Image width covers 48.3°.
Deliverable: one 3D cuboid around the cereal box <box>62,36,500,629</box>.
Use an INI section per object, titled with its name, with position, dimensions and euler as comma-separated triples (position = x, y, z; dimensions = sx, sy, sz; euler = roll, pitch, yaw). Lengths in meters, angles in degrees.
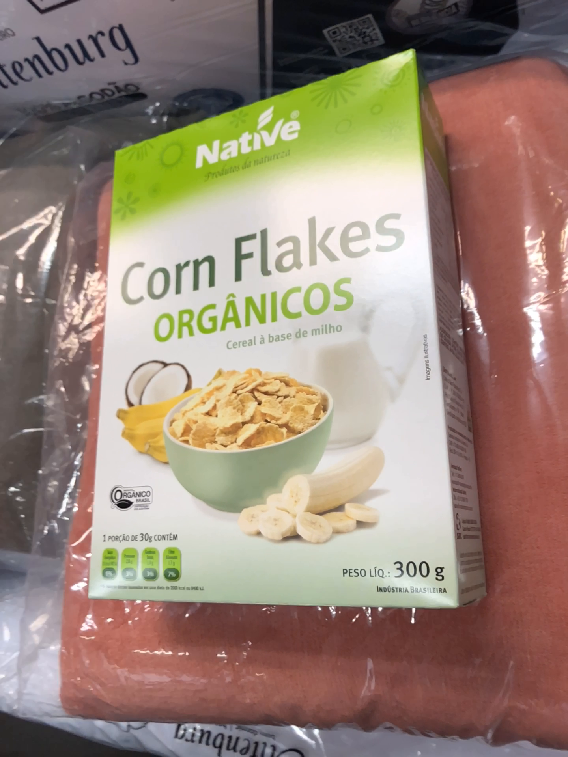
[cereal box]
position = -0.006, -0.015, 0.304
dimensions = 0.180, 0.060, 0.240
euler = -7, 74, 23
